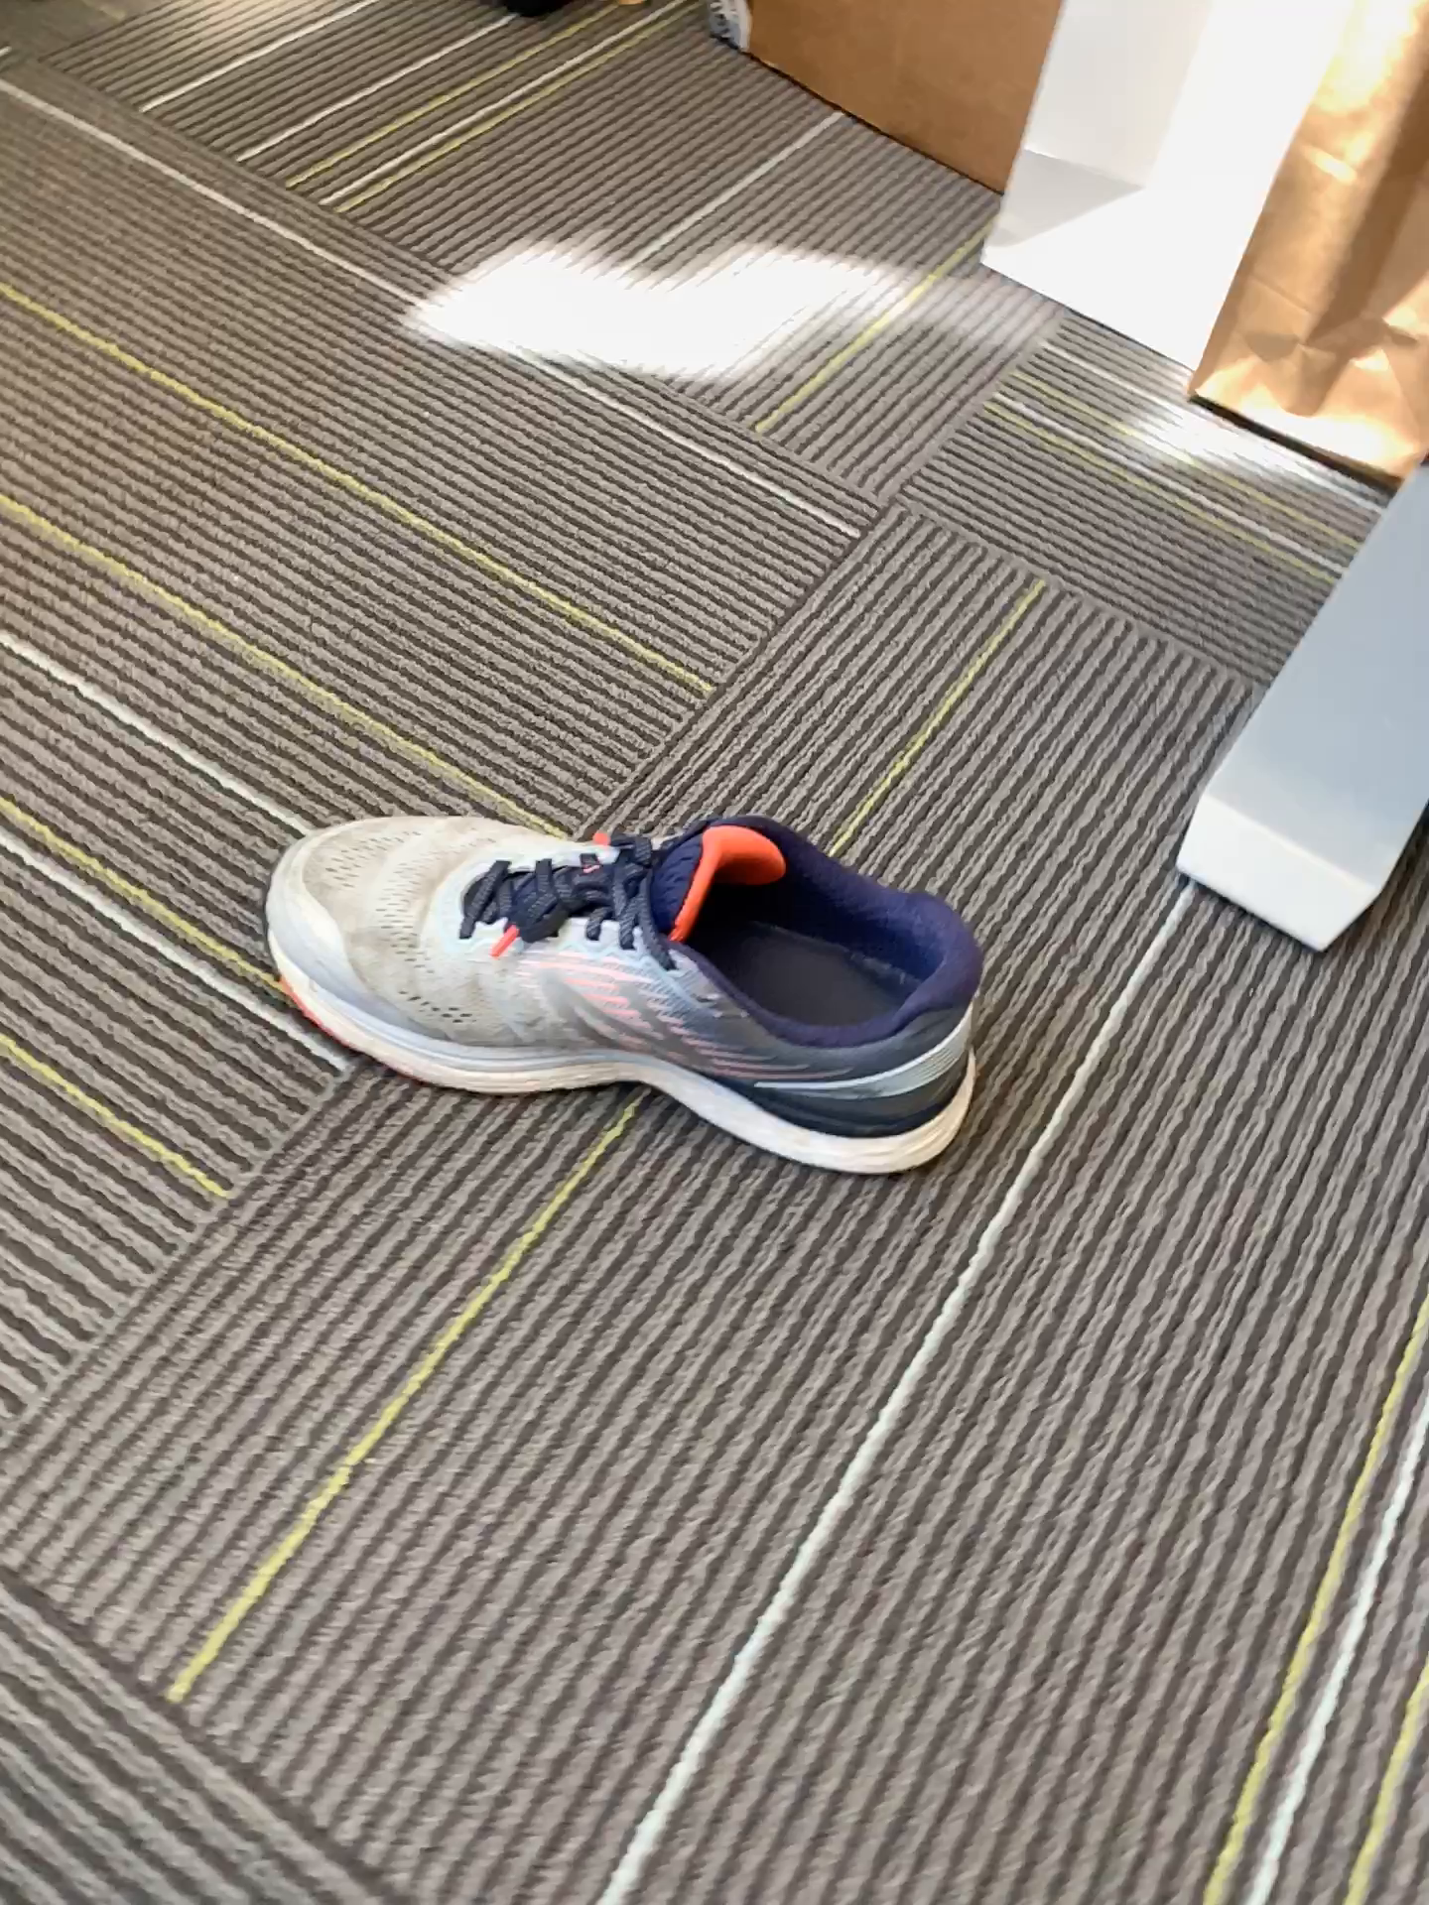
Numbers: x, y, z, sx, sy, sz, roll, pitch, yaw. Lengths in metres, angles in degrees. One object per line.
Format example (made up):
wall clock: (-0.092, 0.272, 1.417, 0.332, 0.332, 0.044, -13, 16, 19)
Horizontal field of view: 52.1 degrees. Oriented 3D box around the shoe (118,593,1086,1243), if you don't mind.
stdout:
shoe: (-0.036, -0.011, 0.528, 0.300, 0.110, 0.110, 17, 56, 3)
